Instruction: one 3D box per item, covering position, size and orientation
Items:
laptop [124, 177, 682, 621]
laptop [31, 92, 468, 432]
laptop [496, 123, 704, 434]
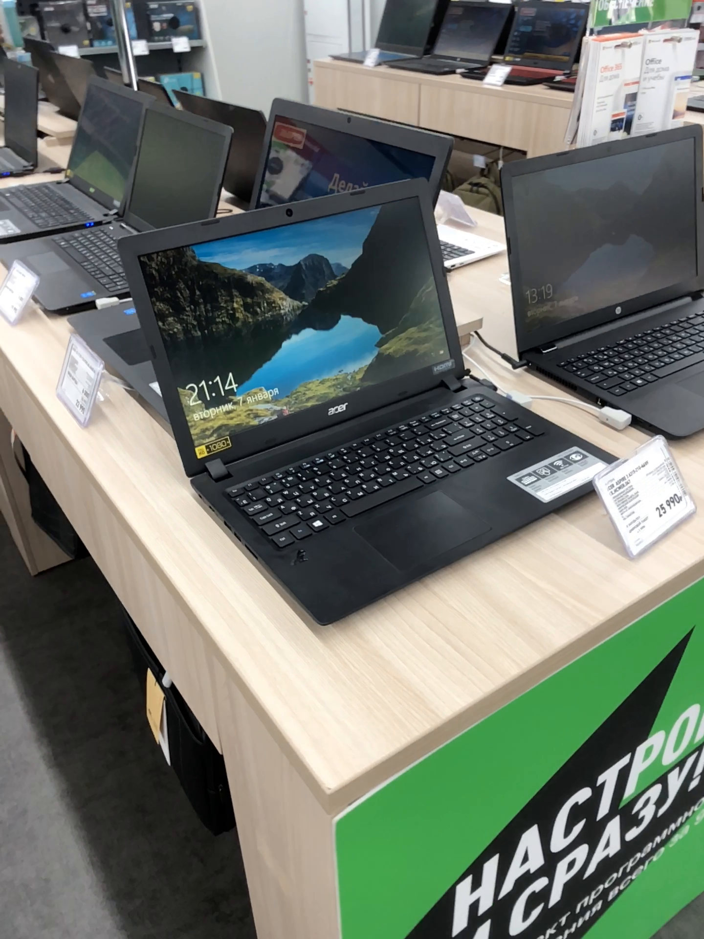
[{"bbox_3d":[0.036,-0.112,0.765,0.375,0.219,0.348,-22,39,-27],"label":"laptop"},{"bbox_3d":[-0.140,-0.311,1.034,0.396,0.250,0.402,-24,40,-26],"label":"laptop"},{"bbox_3d":[0.434,-0.261,0.965,0.359,0.220,0.295,-22,40,-26],"label":"laptop"}]
